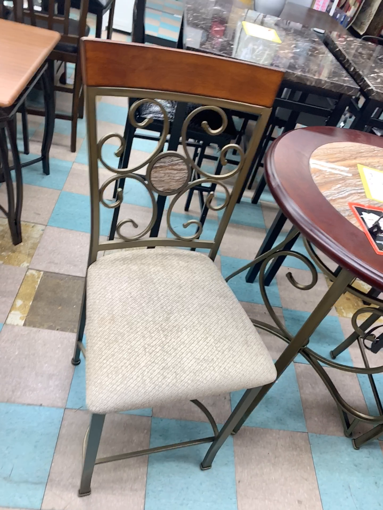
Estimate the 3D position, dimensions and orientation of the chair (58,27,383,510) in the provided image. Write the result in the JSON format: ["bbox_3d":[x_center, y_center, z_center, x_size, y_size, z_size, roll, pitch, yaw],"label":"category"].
[{"bbox_3d":[-0.067,0.126,1.023,0.511,1.052,0.610,-1,46,-20],"label":"chair"}]
